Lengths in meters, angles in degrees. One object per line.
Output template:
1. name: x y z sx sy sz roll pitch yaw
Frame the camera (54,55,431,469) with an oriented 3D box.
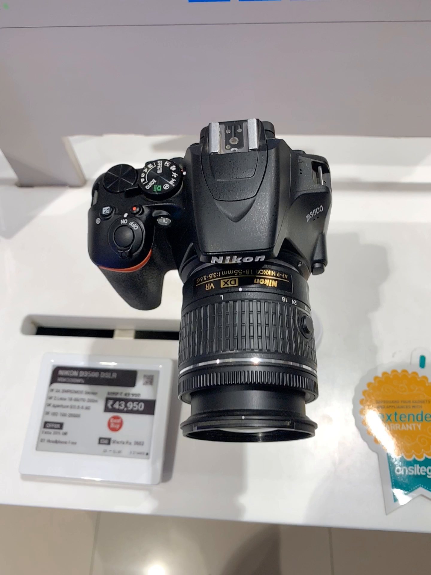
1. camera: 0.010 -0.012 0.224 0.120 0.090 0.180 -2 62 3
